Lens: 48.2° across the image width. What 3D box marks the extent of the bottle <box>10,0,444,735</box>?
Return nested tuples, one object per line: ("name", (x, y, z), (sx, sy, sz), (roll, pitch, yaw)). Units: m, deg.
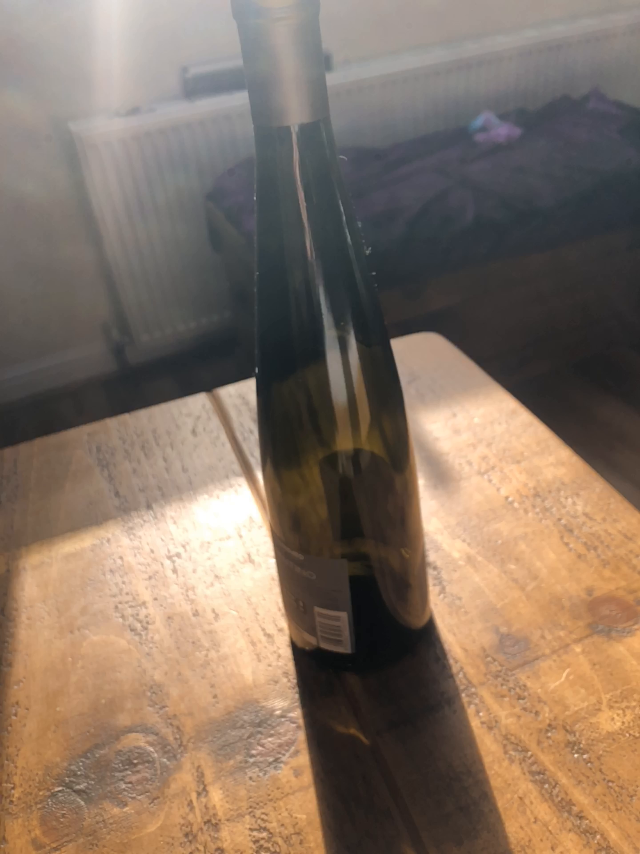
("bottle", (-0.014, -0.016, 0.333), (0.100, 0.338, 0.101), (-5, 36, 4))
